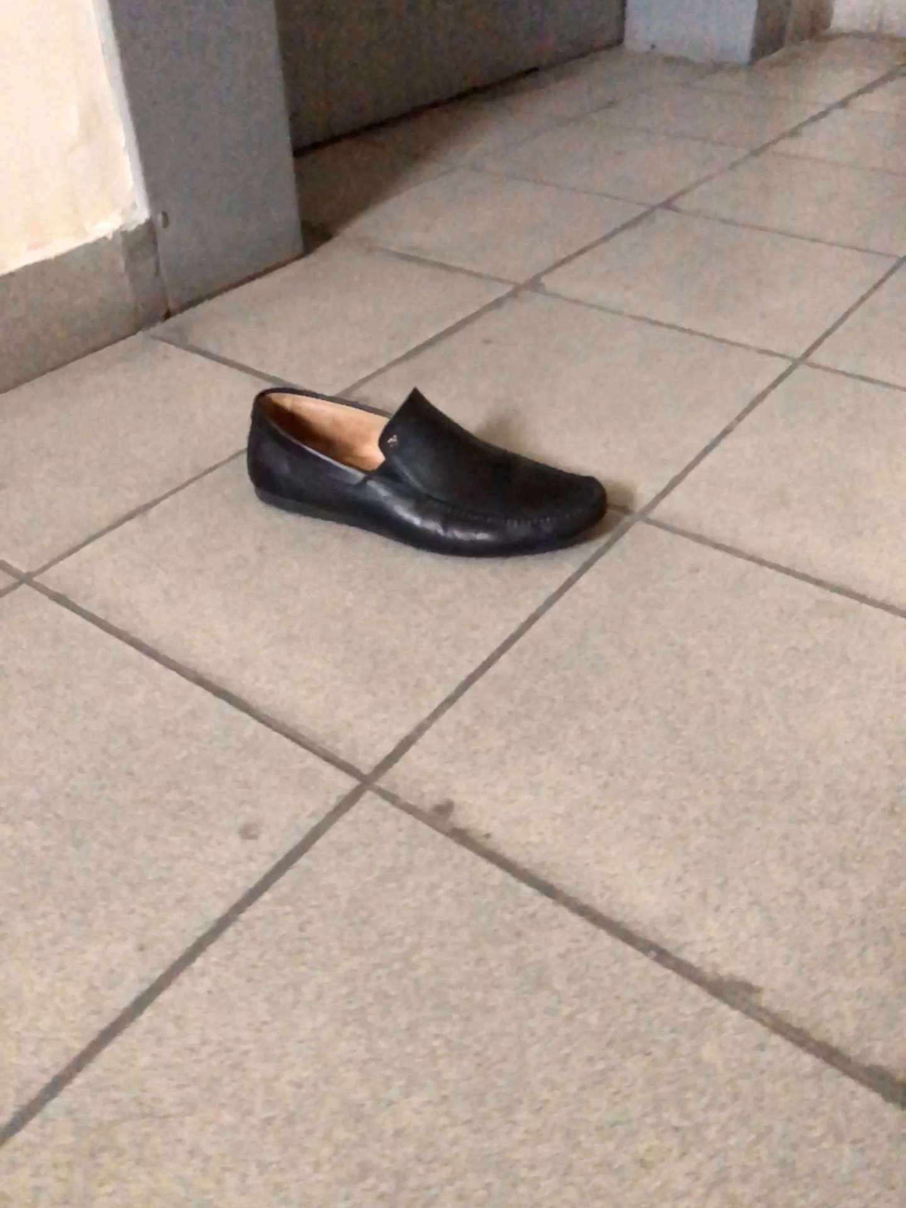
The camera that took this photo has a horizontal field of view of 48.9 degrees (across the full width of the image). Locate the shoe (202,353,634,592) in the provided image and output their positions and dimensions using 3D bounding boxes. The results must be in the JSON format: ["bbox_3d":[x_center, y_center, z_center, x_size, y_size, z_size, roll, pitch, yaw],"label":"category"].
[{"bbox_3d":[-0.022,-0.098,0.696,0.270,0.079,0.108,12,41,16],"label":"shoe"}]
